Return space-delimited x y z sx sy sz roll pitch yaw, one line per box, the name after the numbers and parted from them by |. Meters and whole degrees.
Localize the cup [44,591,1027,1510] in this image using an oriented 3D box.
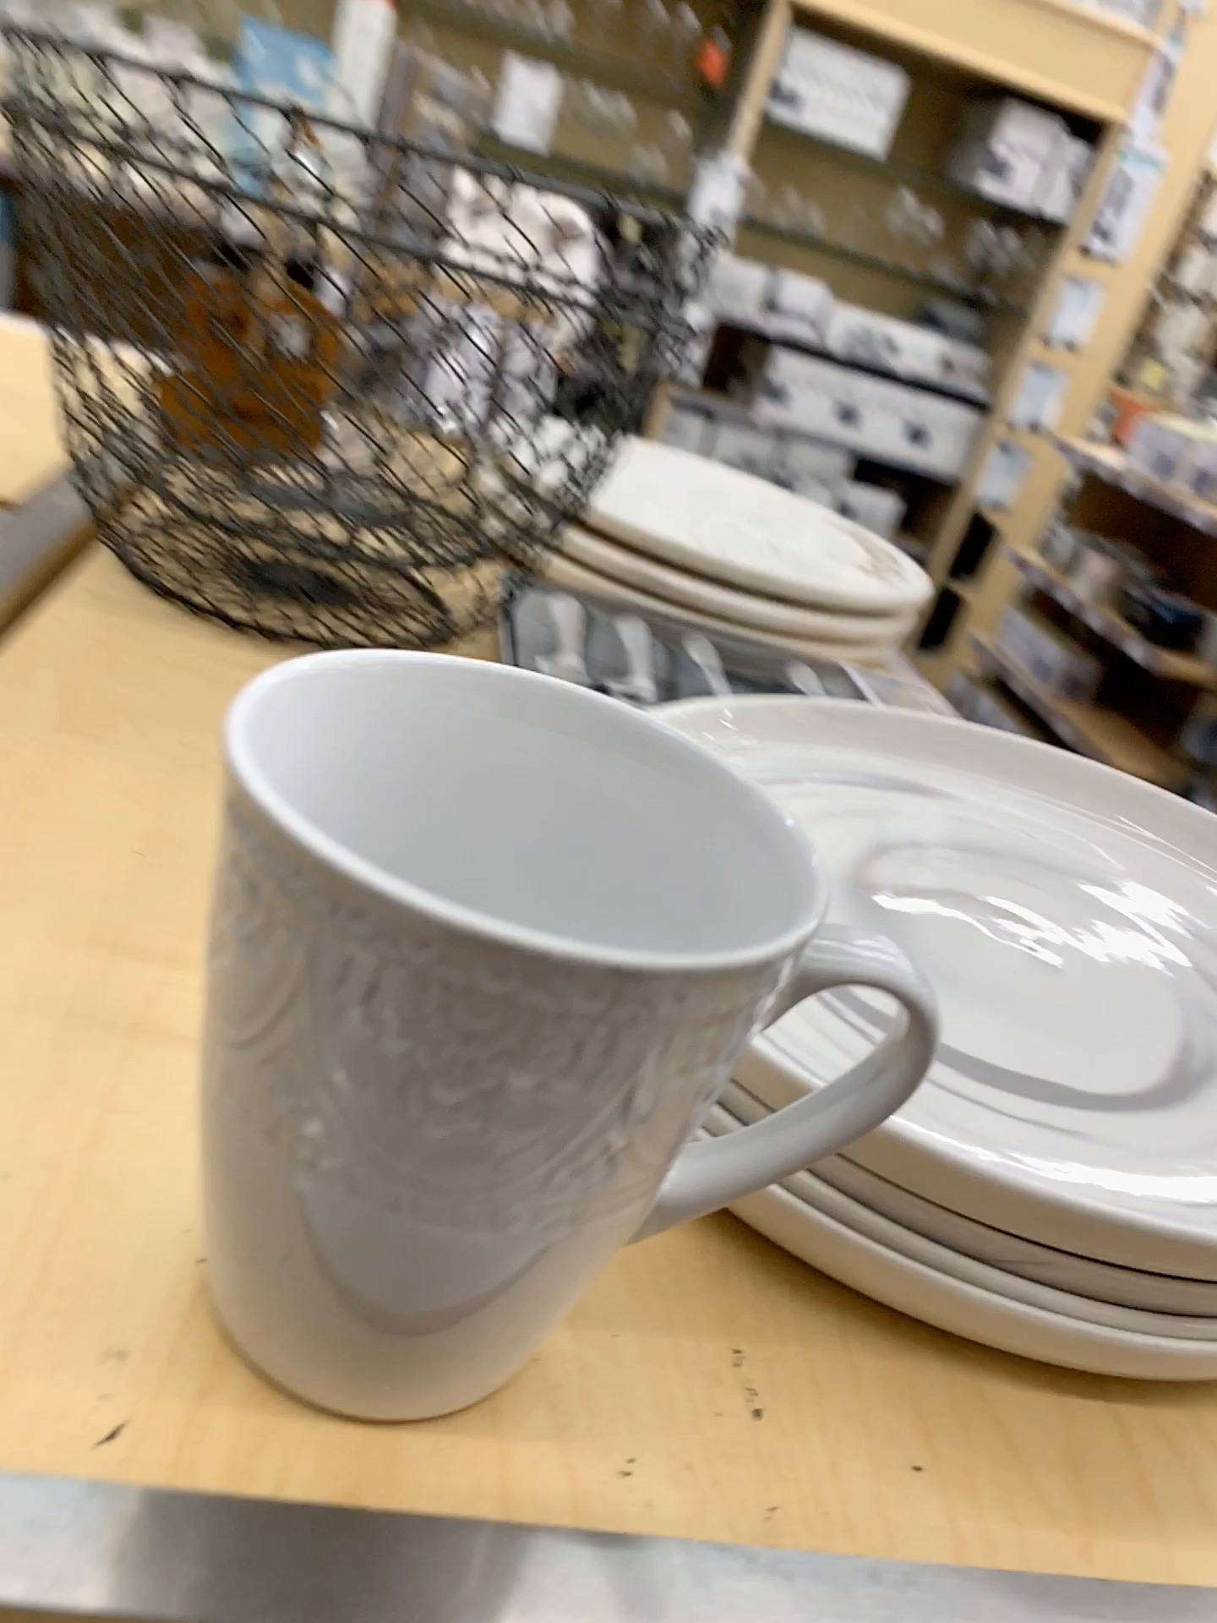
-0.018 0.041 0.232 0.124 0.107 0.099 13 26 -10 | cup
